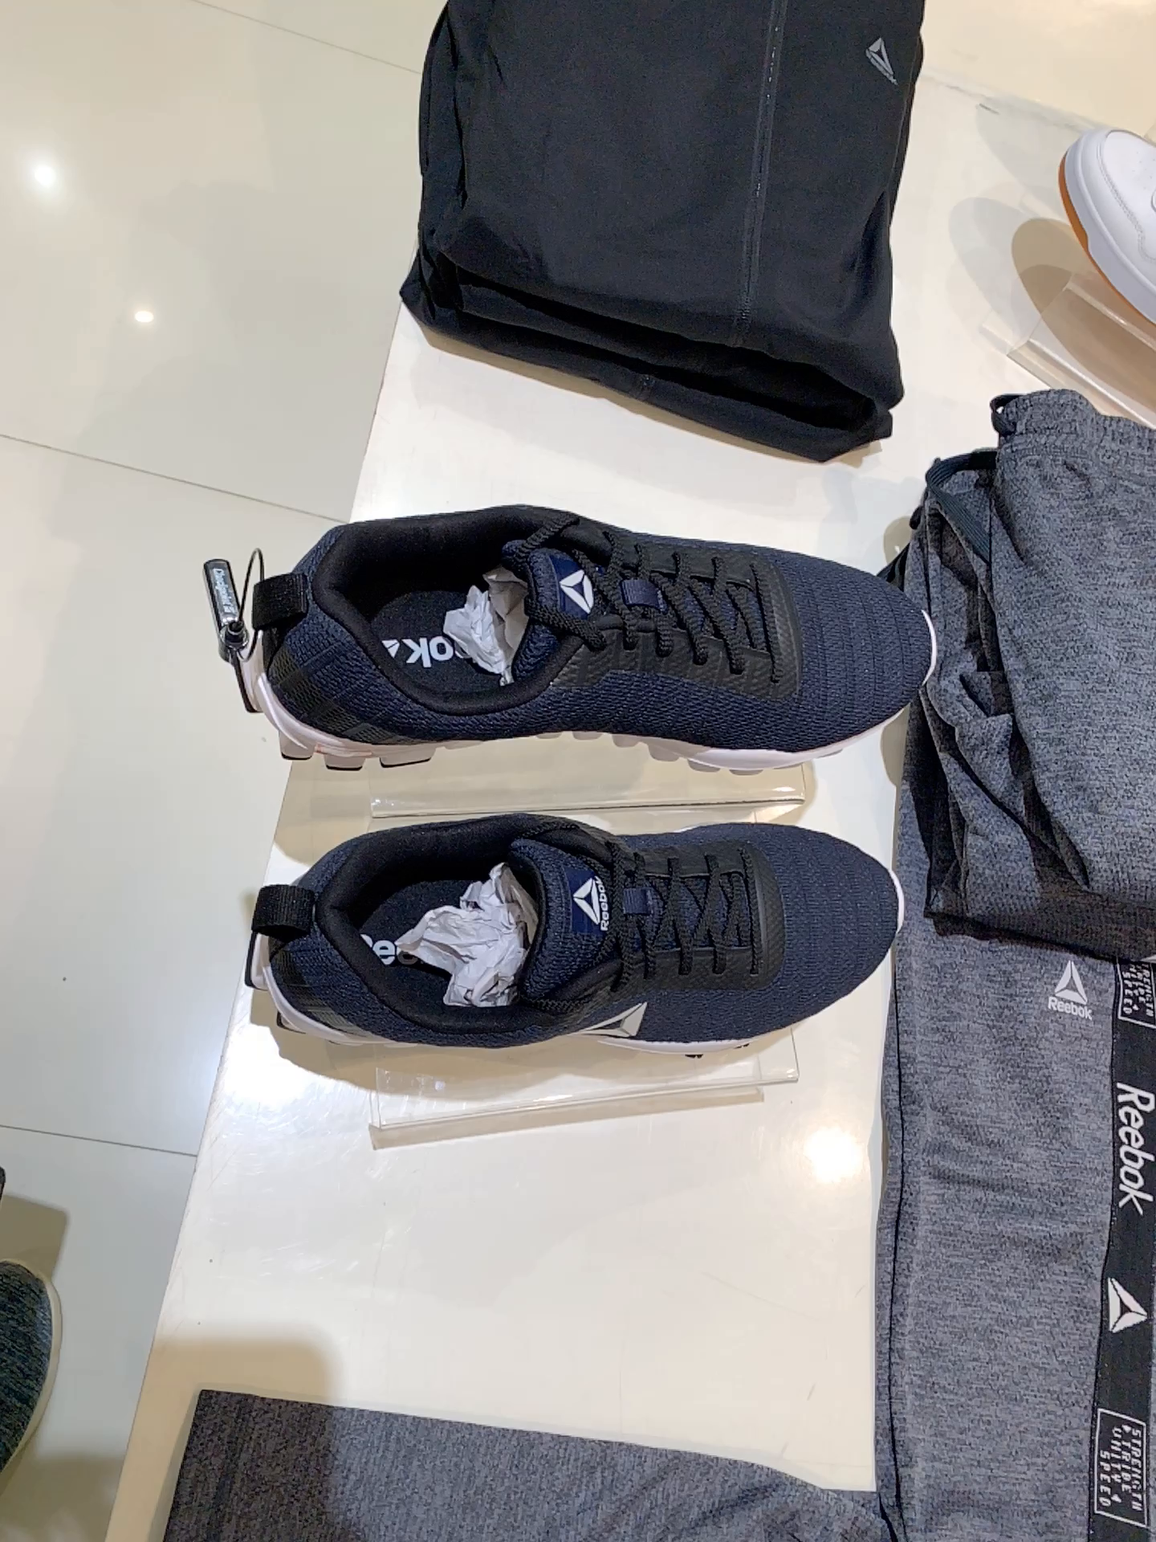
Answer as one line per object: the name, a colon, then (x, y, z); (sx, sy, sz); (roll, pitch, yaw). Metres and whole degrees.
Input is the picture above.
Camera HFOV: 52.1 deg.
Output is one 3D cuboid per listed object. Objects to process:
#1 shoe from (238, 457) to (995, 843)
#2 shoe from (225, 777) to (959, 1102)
shoe: (0.012, -0.052, 0.483); (0.280, 0.080, 0.120); (-5, 74, -16)
shoe: (0.013, 0.068, 0.486); (0.290, 0.080, 0.100); (3, 71, -29)
